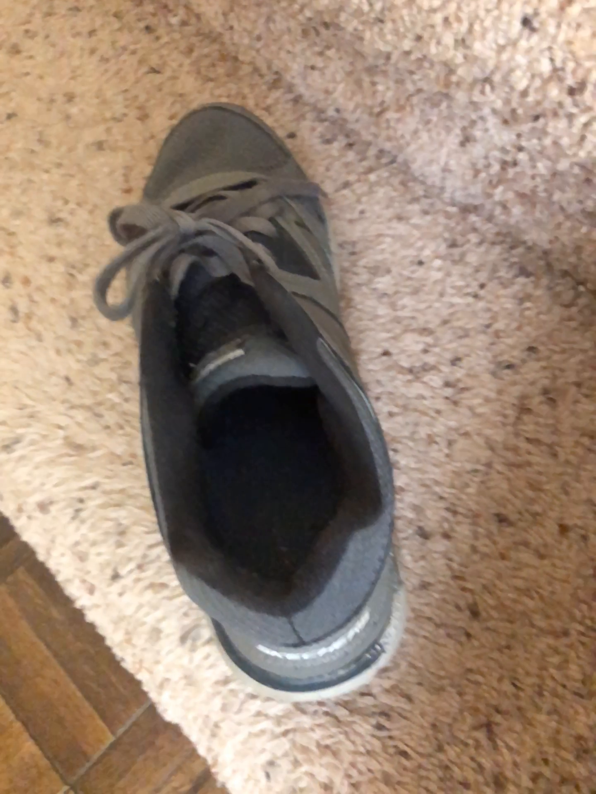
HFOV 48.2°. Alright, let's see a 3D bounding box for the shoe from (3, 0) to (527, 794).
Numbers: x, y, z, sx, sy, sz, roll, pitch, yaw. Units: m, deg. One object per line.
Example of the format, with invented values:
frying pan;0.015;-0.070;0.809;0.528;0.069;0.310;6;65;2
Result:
shoe;-0.027;-0.026;0.277;0.110;0.140;0.300;-14;66;0
